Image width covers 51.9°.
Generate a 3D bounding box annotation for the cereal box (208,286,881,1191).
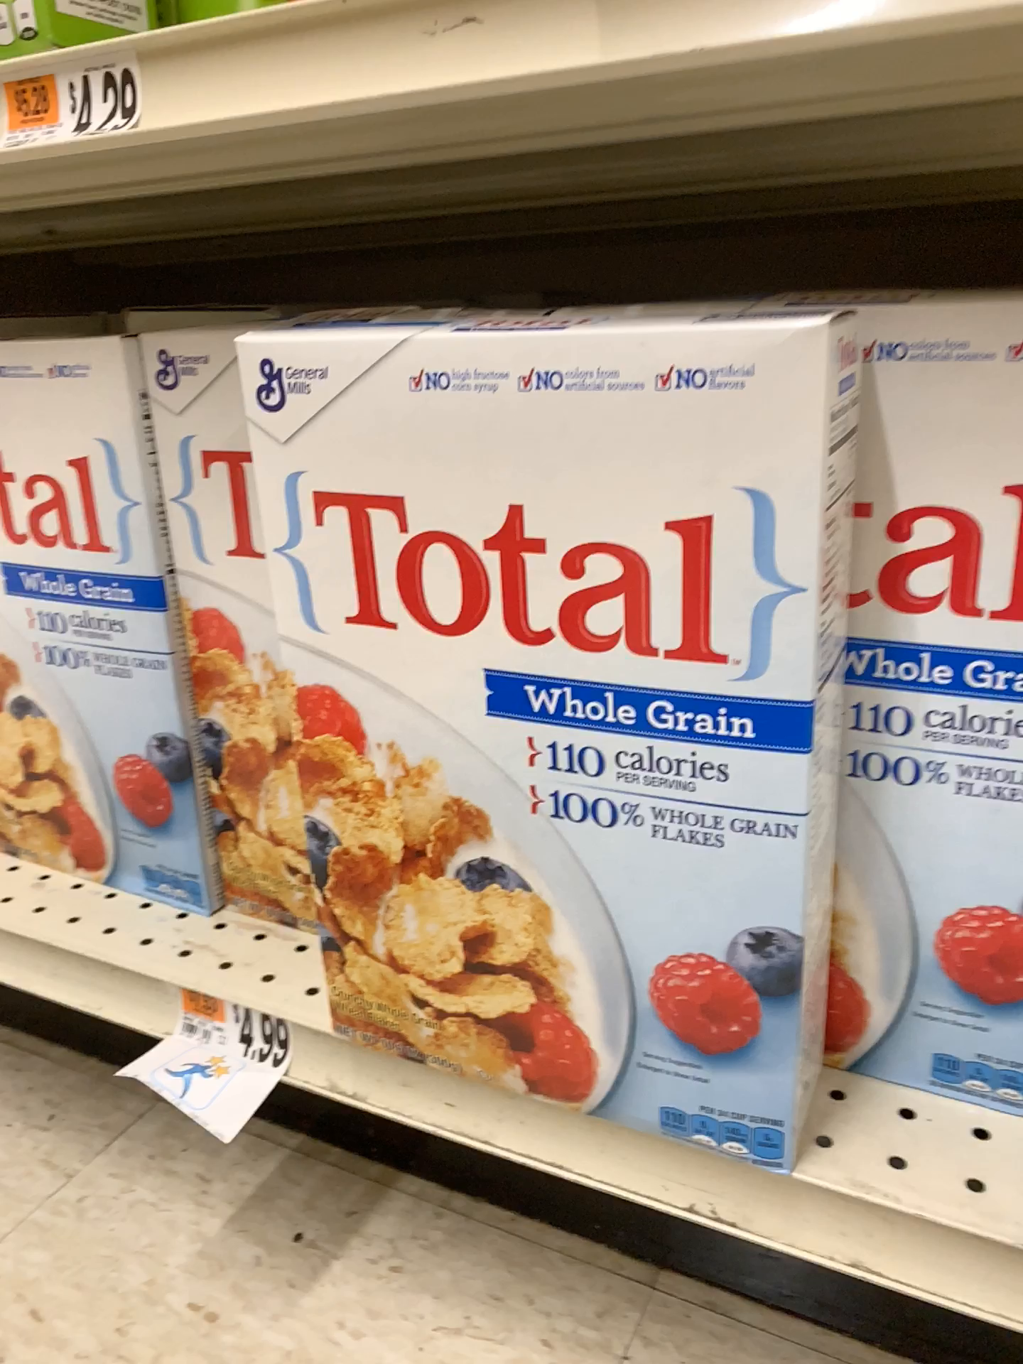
[{"bbox_3d":[0.010,0.017,0.364,0.200,0.279,0.050,7,23,26],"label":"cereal box"}]
